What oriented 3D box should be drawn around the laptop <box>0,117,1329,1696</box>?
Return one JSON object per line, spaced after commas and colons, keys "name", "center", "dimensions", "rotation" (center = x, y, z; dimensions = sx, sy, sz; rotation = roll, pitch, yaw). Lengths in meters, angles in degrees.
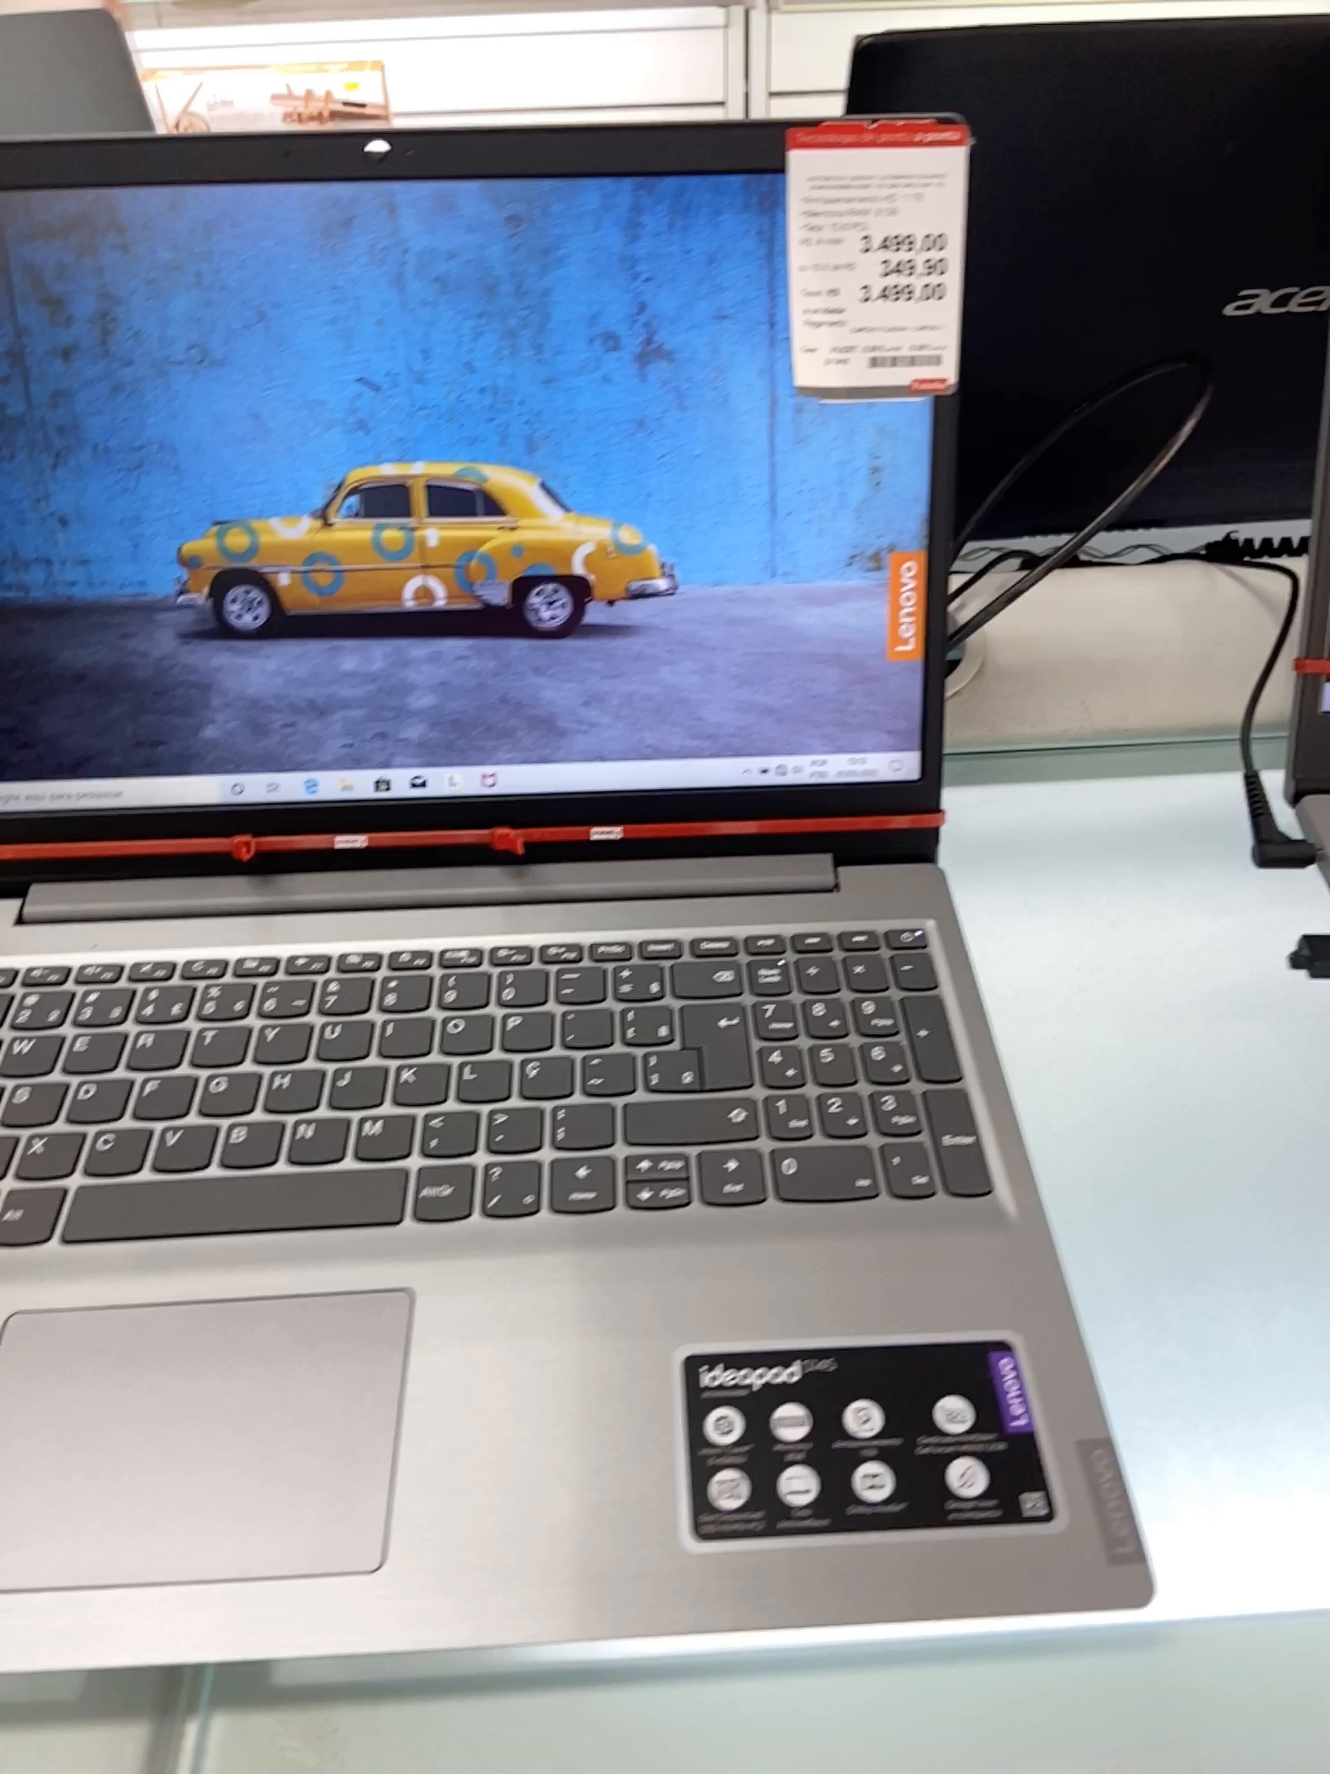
{"name": "laptop", "center": [-0.083, -0.032, 0.360], "dimensions": [0.364, 0.214, 0.353], "rotation": [-2, 42, -1]}
